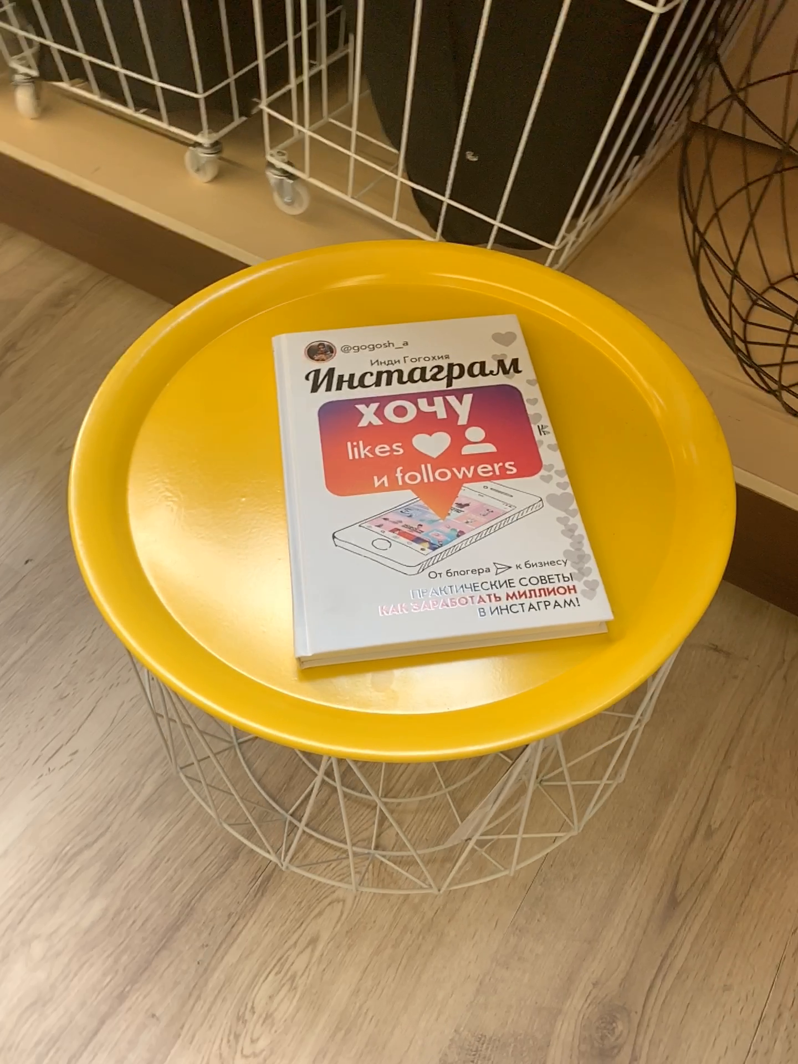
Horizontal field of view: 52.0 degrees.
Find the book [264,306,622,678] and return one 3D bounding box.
[{"bbox_3d":[0.012,-0.039,0.482,0.170,0.020,0.241,-6,56,-5],"label":"book"}]
